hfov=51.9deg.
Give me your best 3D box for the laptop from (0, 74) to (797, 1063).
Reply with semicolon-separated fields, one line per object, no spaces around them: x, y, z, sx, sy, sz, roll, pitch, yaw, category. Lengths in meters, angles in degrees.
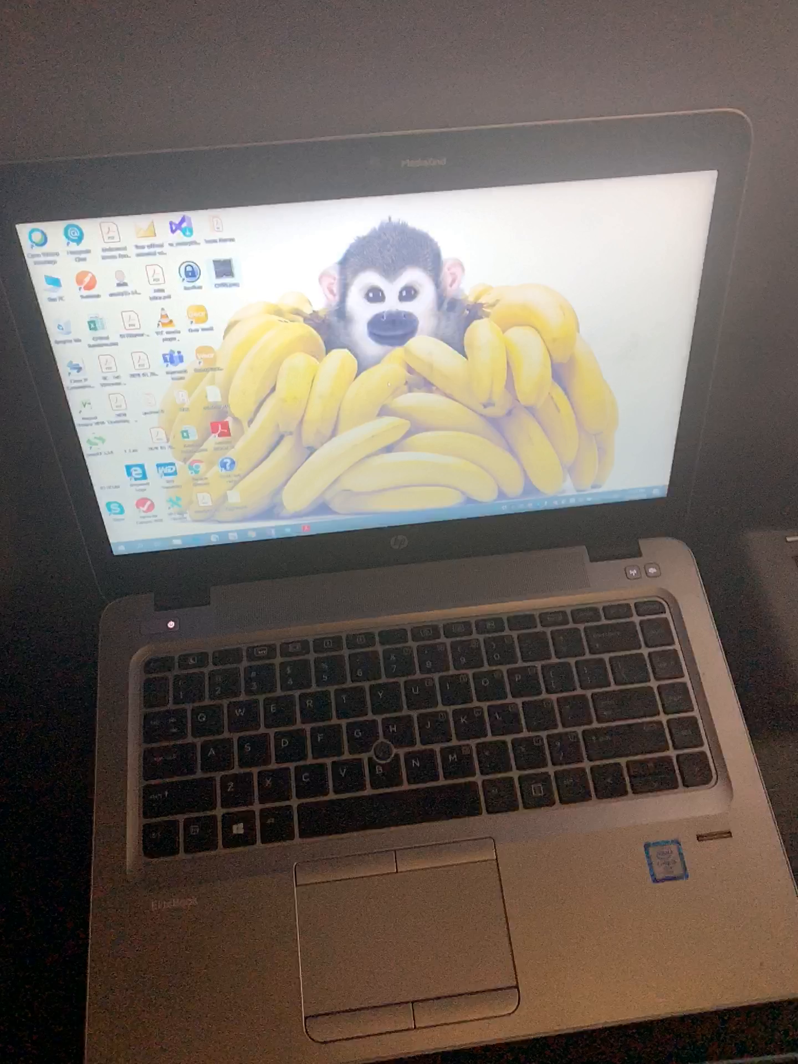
0.010;0.023;0.342;0.318;0.191;0.326;-7;63;-4;laptop
